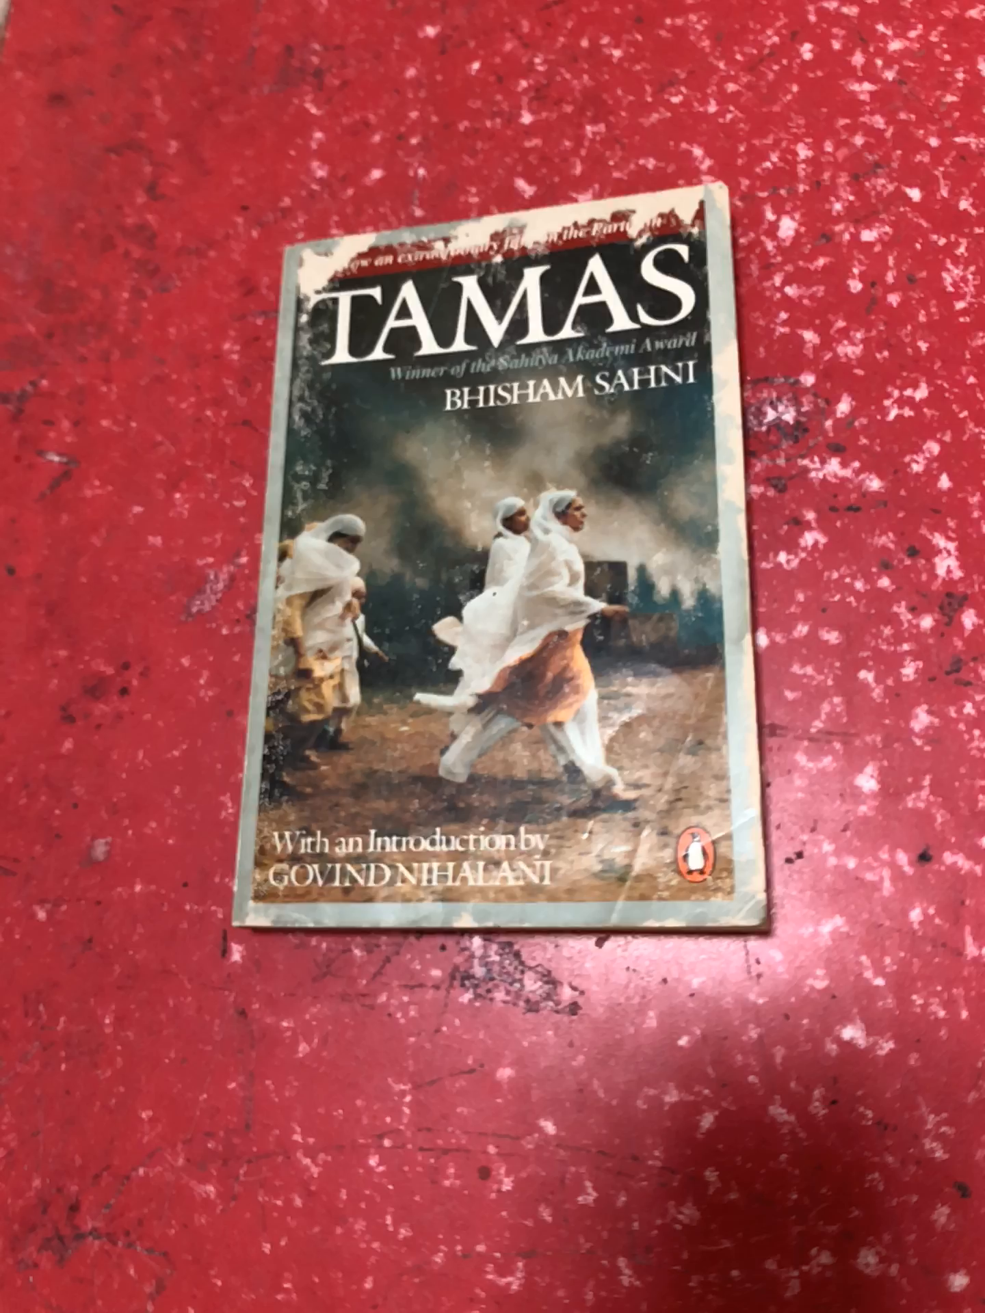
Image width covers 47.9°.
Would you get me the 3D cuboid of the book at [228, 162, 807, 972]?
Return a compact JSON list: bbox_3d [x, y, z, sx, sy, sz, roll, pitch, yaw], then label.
[{"bbox_3d":[0.005,-0.025,0.281,0.130,0.020,0.200,-4,73,14],"label":"book"}]
